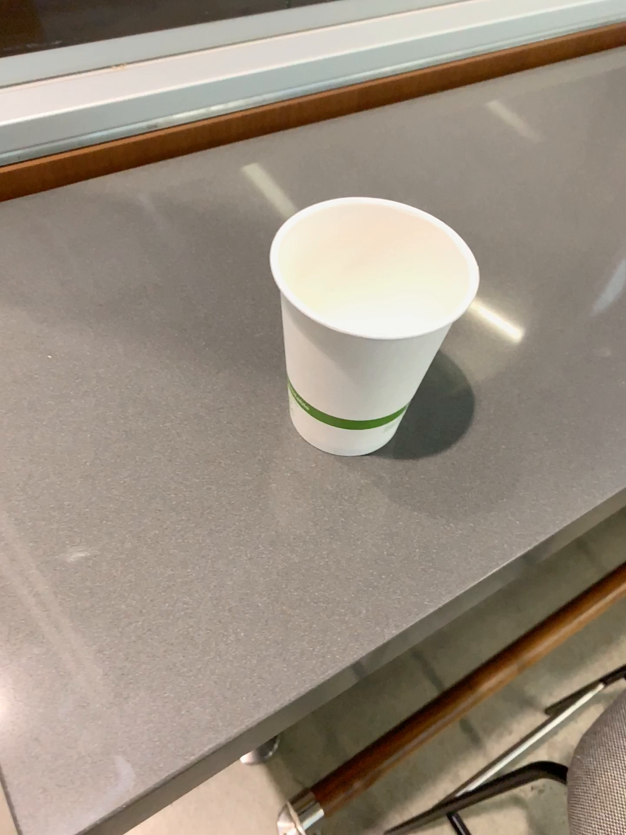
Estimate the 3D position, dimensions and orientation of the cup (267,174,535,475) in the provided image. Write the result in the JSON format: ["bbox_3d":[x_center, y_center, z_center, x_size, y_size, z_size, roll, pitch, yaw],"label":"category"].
[{"bbox_3d":[0.029,-0.042,0.302,0.090,0.100,0.090,2,52,-3],"label":"cup"}]
